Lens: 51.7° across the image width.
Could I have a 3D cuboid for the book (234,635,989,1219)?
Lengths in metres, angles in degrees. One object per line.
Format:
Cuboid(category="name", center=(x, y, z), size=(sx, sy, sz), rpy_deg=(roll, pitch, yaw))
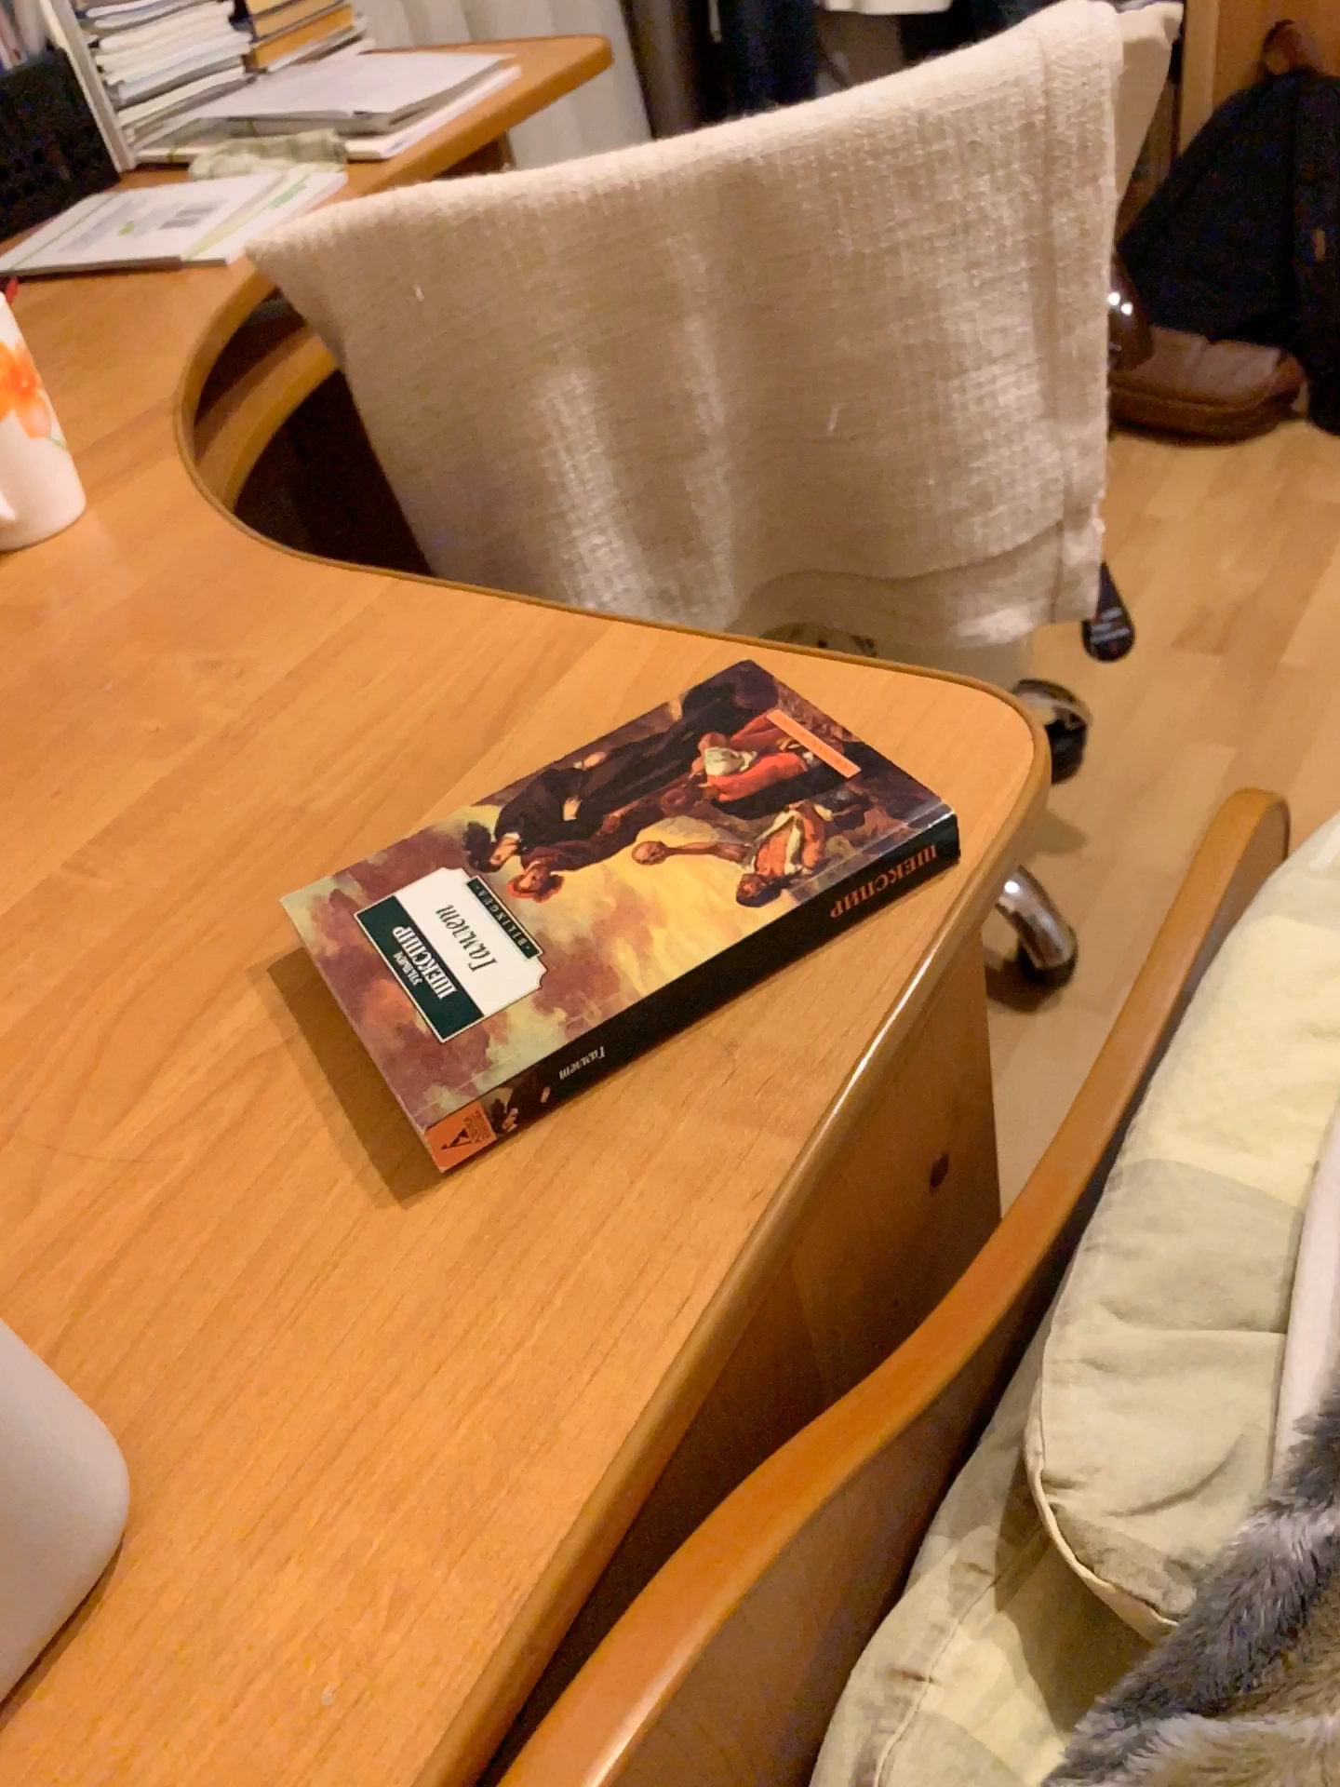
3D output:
Cuboid(category="book", center=(-0.019, -0.002, 0.413), size=(0.190, 0.030, 0.121), rpy_deg=(-29, 43, -16))
